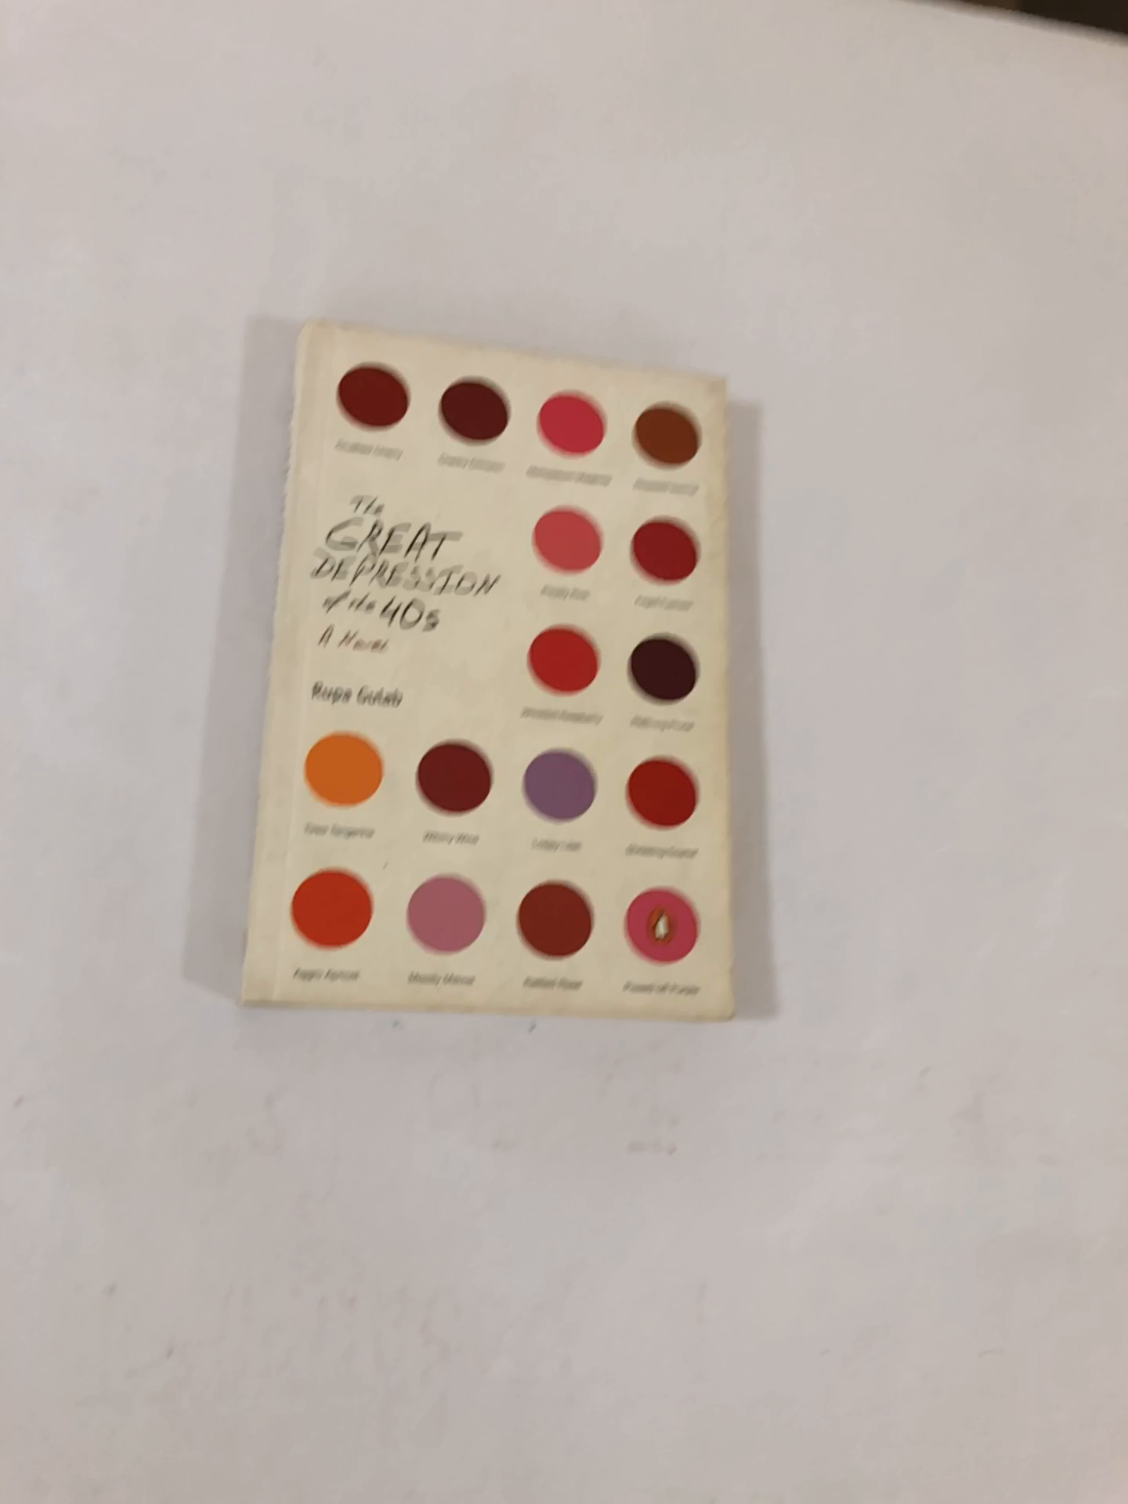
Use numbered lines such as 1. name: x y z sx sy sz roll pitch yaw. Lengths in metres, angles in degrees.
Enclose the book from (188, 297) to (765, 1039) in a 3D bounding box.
1. book: -0.019 -0.022 0.342 0.140 0.030 0.190 5 74 -11
